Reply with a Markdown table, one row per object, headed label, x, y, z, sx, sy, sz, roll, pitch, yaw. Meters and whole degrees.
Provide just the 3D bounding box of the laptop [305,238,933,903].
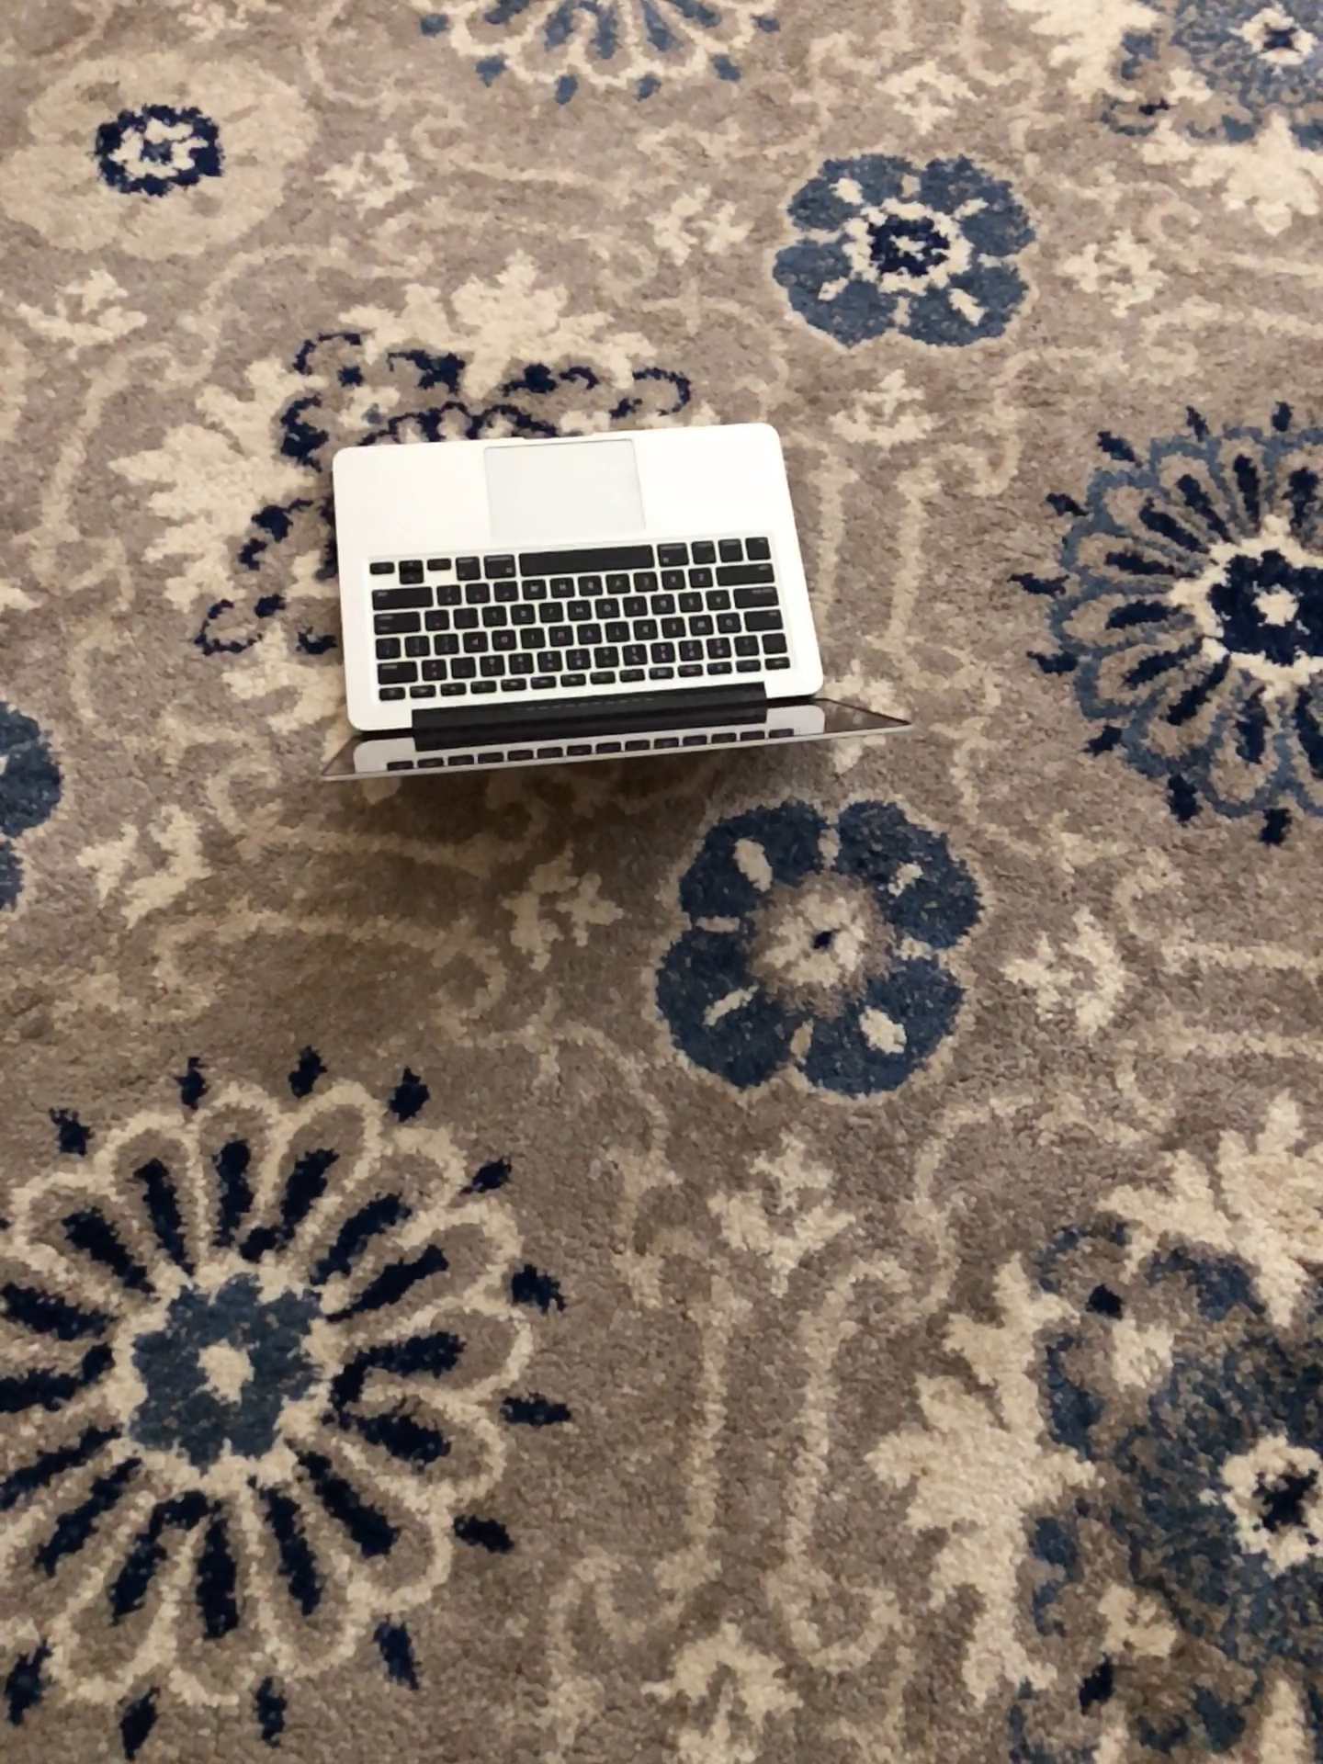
| label | x | y | z | sx | sy | sz | roll | pitch | yaw |
| --- | --- | --- | --- | --- | --- | --- | --- | --- | --- |
| laptop | -0.038 | -0.183 | 0.872 | 0.300 | 0.171 | 0.322 | -6 | 71 | -5 |
